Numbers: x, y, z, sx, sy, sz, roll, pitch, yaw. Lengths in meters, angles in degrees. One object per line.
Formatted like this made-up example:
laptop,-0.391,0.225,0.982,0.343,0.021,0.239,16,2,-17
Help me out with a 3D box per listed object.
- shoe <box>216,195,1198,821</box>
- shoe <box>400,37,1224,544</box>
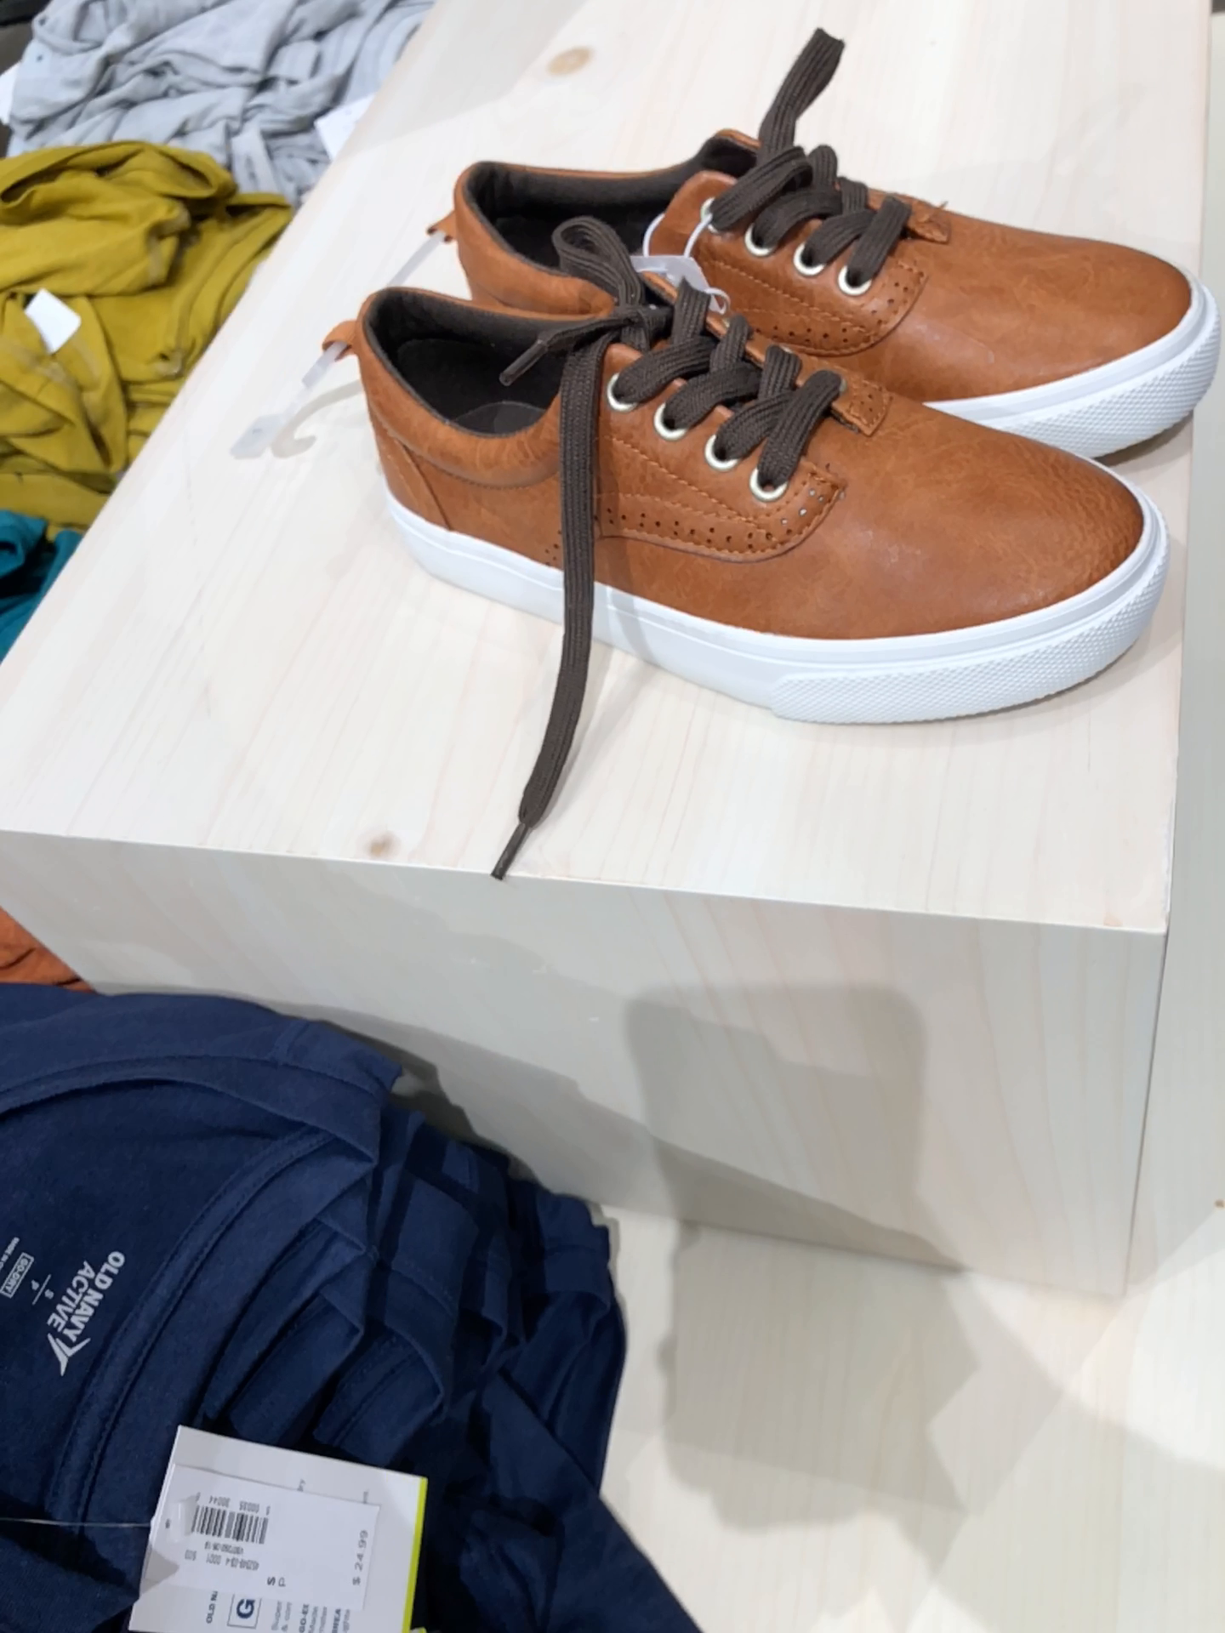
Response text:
shoe,0.021,-0.089,0.357,0.221,0.090,0.090,18,62,29
shoe,0.061,-0.151,0.386,0.210,0.080,0.090,14,60,27
